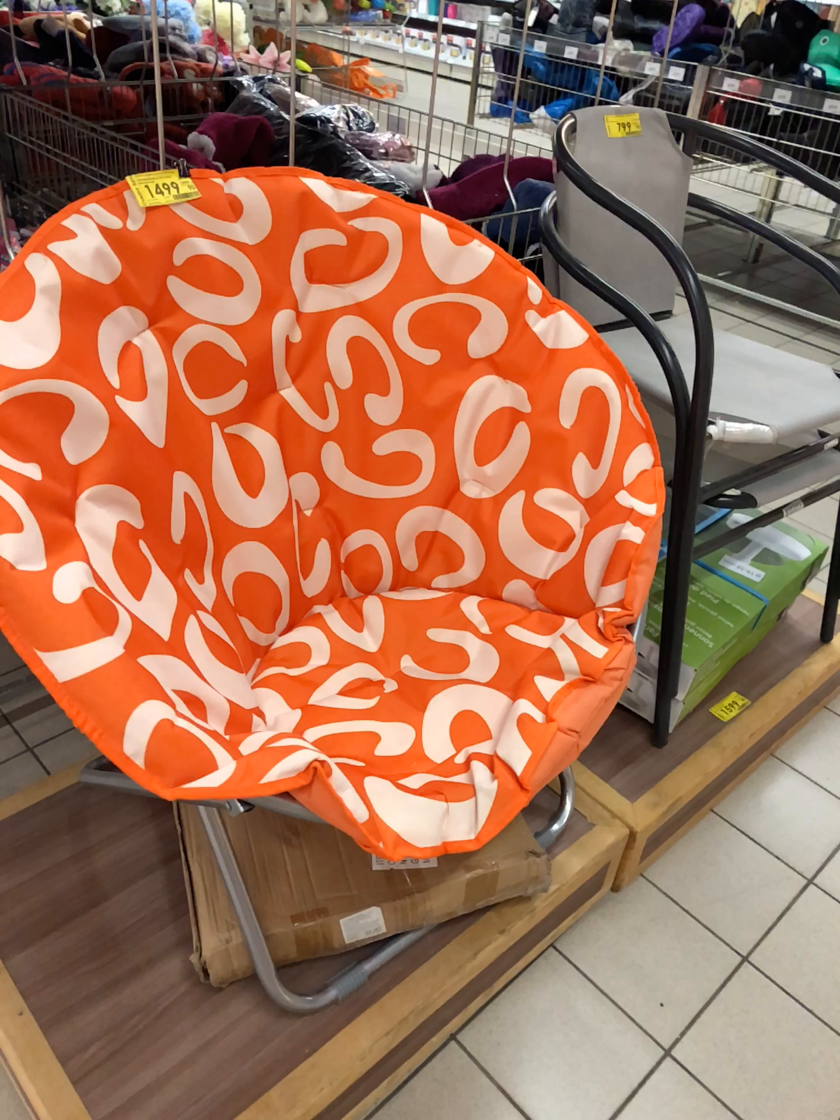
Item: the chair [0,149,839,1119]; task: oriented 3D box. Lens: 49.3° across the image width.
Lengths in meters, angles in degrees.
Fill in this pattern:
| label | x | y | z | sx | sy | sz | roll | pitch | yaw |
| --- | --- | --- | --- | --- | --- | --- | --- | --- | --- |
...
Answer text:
| label | x | y | z | sx | sy | sz | roll | pitch | yaw |
| --- | --- | --- | --- | --- | --- | --- | --- | --- | --- |
| chair | -0.066 | -0.049 | 1.050 | 0.736 | 0.605 | 0.712 | -23 | 43 | -35 |
